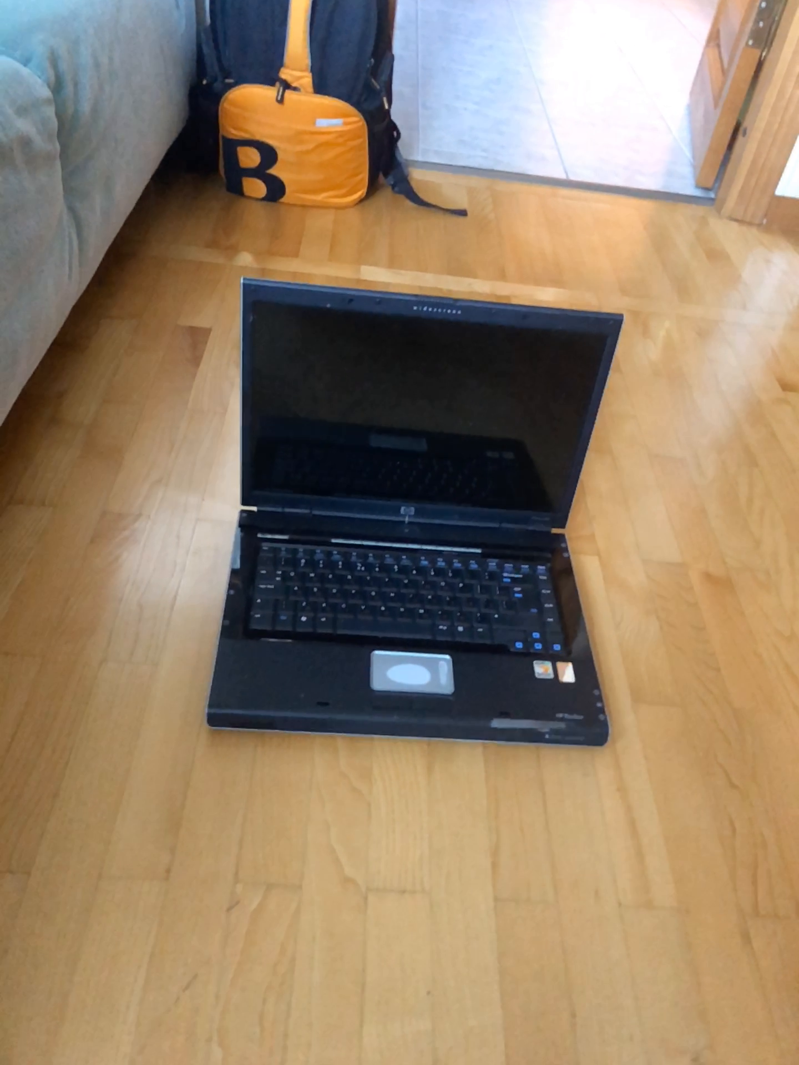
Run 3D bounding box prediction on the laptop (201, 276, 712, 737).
[{"bbox_3d":[0.027,-0.026,0.810,0.363,0.254,0.308,4,43,-6],"label":"laptop"}]
